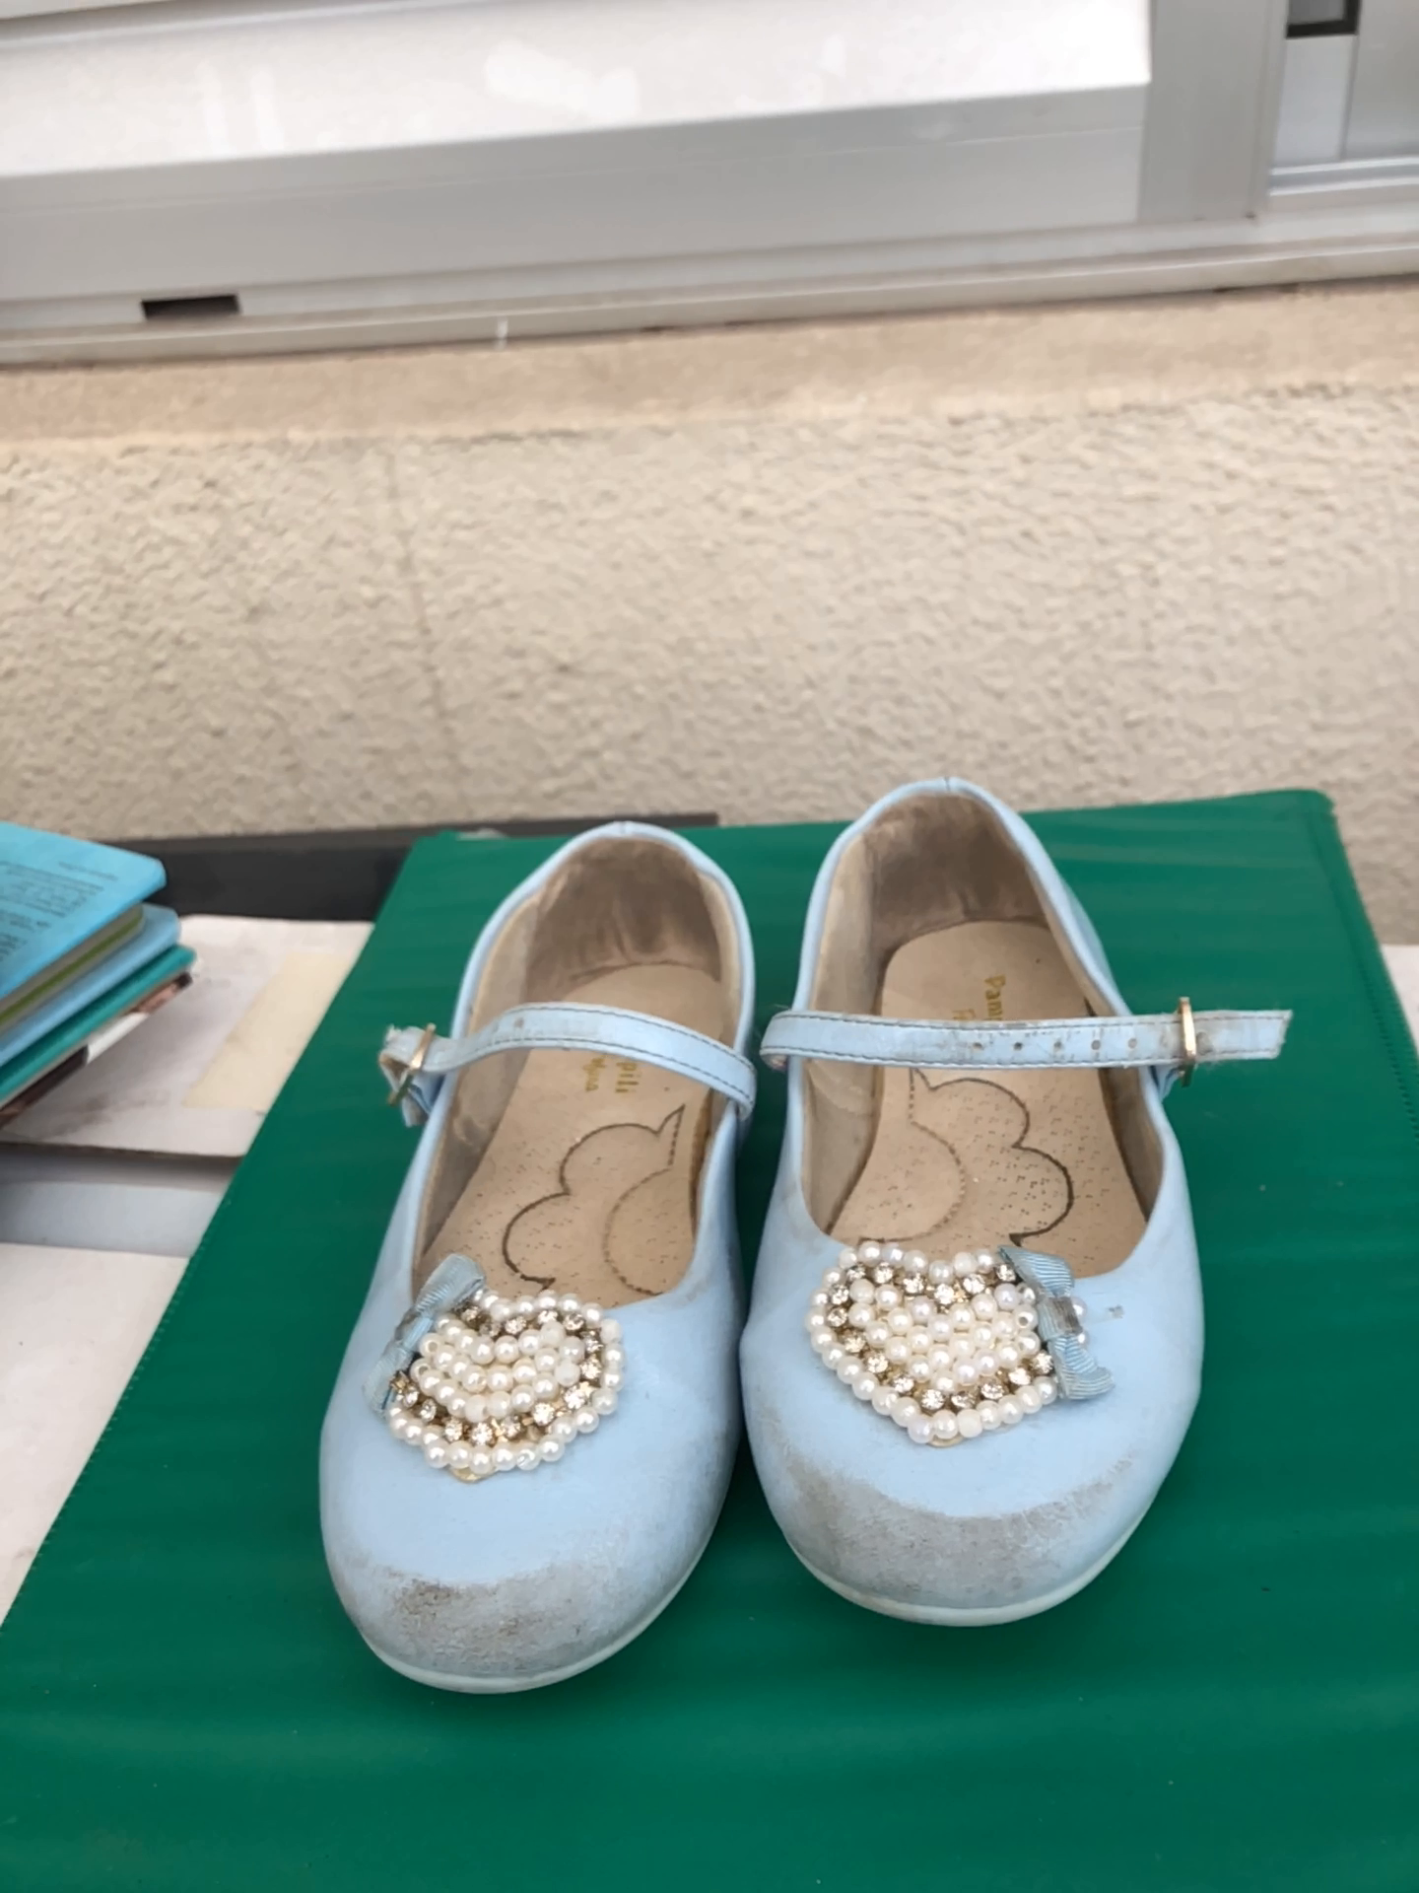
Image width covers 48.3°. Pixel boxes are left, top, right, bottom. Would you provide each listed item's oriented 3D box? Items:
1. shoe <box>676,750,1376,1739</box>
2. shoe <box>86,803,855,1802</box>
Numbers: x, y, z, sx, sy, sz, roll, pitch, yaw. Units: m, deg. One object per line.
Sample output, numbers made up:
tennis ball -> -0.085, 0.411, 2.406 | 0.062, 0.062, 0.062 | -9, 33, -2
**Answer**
shoe -> 0.047, 0.033, 0.267 | 0.080, 0.050, 0.171 | 0, 37, 8
shoe -> -0.022, 0.043, 0.270 | 0.086, 0.050, 0.171 | 0, 37, 8
